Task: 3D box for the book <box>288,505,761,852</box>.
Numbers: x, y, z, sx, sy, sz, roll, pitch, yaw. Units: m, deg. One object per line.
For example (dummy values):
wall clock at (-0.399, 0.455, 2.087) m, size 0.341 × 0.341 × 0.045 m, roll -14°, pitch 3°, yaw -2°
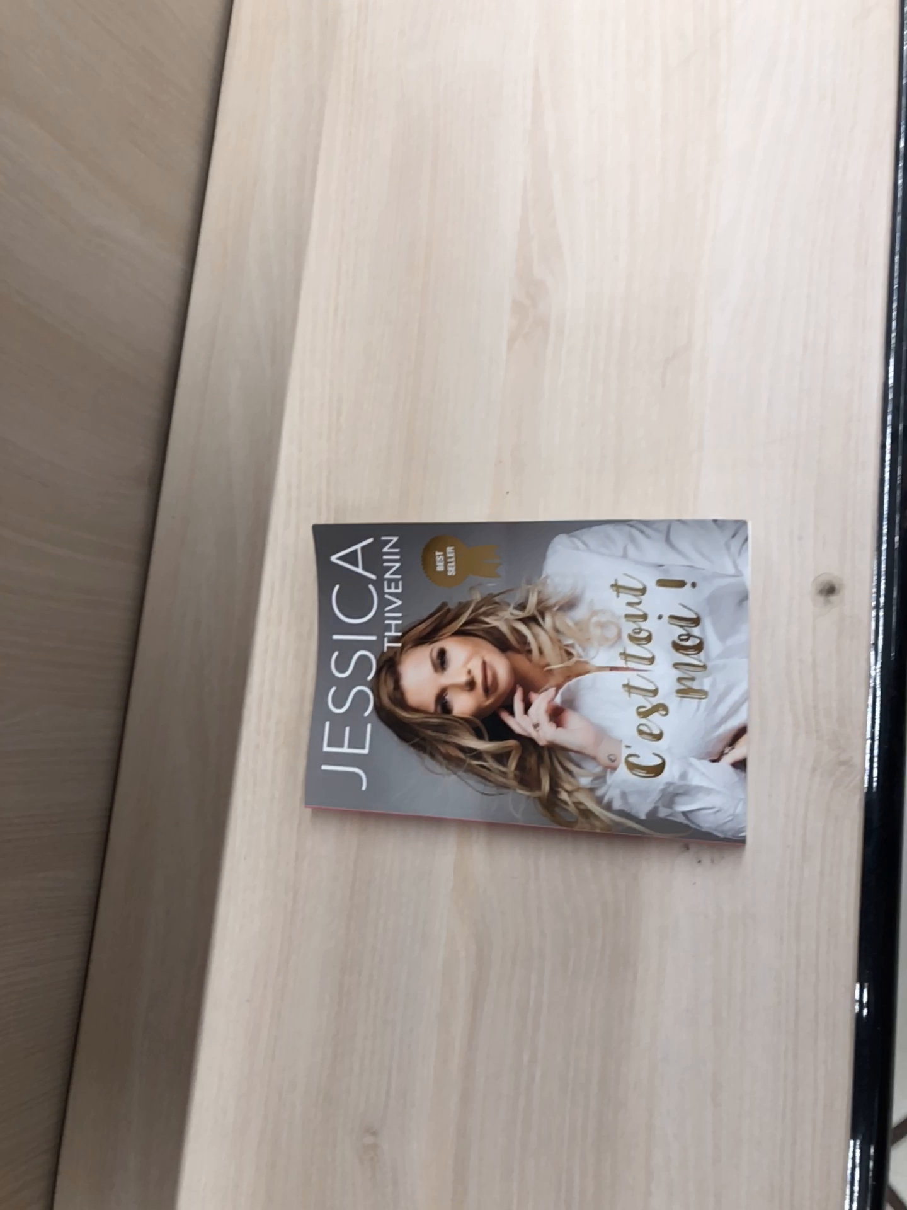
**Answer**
book at (0.030, 0.030, 0.461) m, size 0.212 × 0.020 × 0.146 m, roll 0°, pitch 80°, yaw 18°
